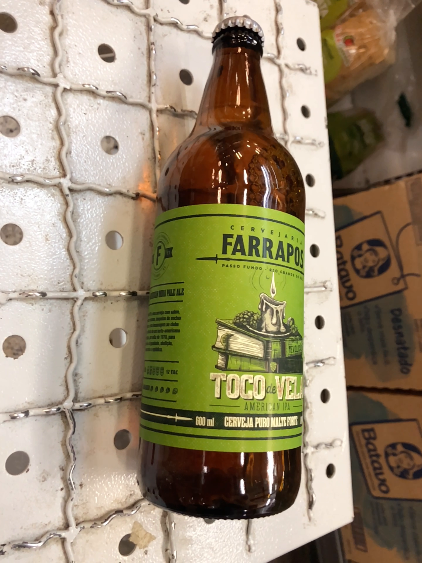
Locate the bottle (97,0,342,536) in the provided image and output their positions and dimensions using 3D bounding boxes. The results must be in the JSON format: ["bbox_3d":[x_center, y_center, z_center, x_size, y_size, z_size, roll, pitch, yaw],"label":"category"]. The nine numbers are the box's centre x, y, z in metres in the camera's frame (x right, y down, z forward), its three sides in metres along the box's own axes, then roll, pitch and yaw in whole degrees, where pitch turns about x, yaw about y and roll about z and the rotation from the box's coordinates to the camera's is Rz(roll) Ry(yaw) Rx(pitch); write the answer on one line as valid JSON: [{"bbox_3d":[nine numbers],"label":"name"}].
[{"bbox_3d":[0.009,-0.032,0.234,0.080,0.070,0.260,11,79,-38],"label":"bottle"}]
